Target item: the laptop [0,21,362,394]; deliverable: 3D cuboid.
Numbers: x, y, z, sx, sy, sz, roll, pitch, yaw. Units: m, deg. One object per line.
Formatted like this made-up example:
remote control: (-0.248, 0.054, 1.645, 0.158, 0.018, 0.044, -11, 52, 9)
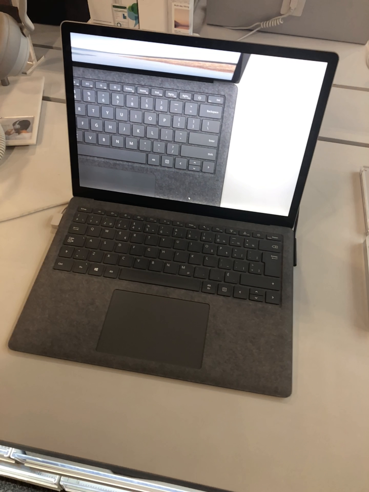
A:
laptop: (-0.013, -0.047, 0.433, 0.297, 0.197, 0.296, 9, 55, 4)
